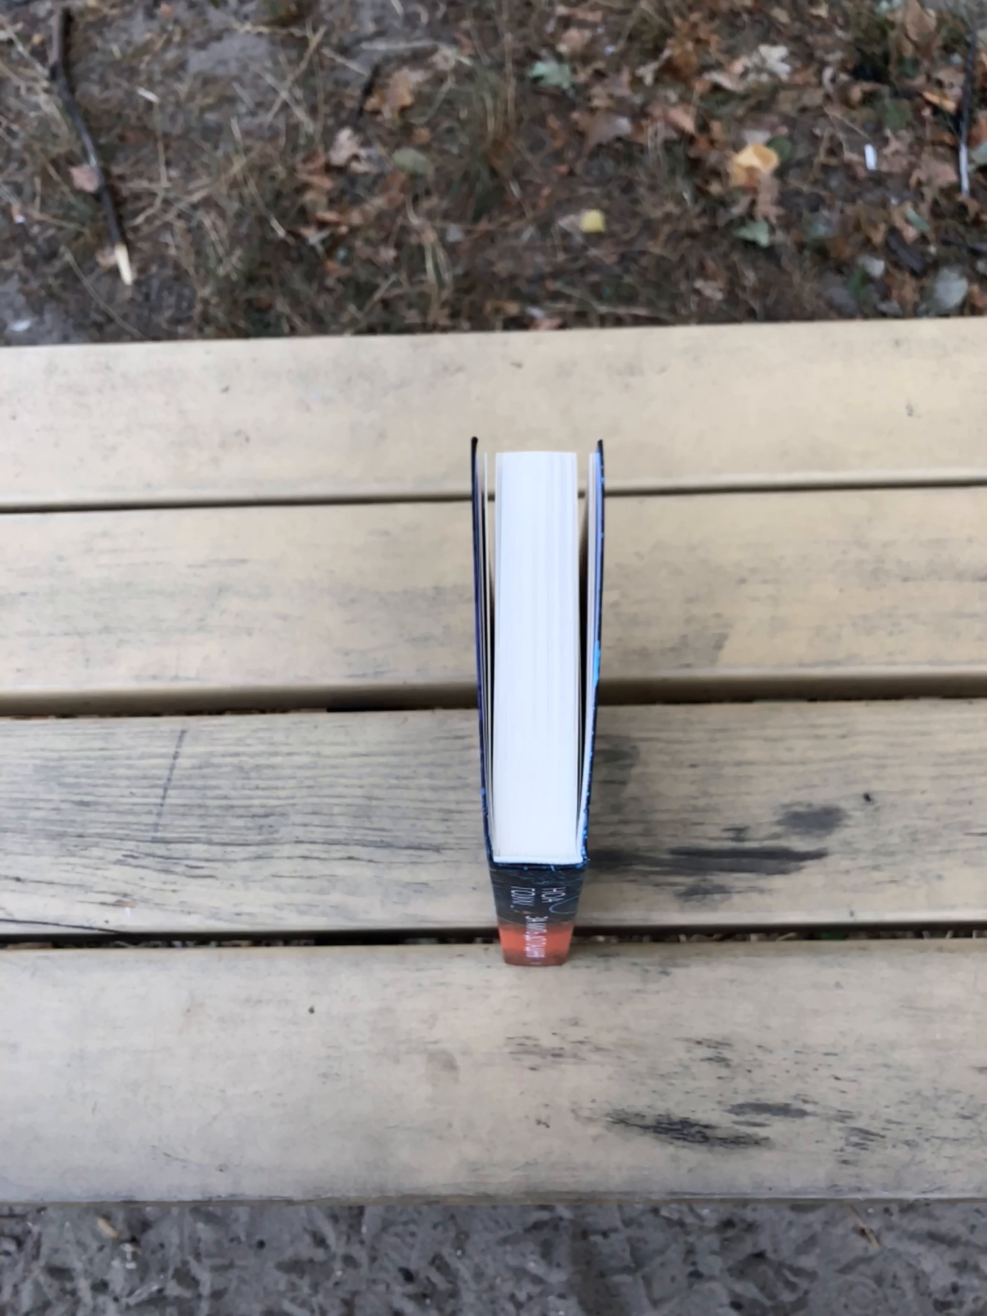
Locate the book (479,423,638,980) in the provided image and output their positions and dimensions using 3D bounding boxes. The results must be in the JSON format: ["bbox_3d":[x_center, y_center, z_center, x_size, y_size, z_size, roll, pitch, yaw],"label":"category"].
[{"bbox_3d":[0.017,0.032,0.391,0.040,0.199,0.140,0,68,0],"label":"book"}]
